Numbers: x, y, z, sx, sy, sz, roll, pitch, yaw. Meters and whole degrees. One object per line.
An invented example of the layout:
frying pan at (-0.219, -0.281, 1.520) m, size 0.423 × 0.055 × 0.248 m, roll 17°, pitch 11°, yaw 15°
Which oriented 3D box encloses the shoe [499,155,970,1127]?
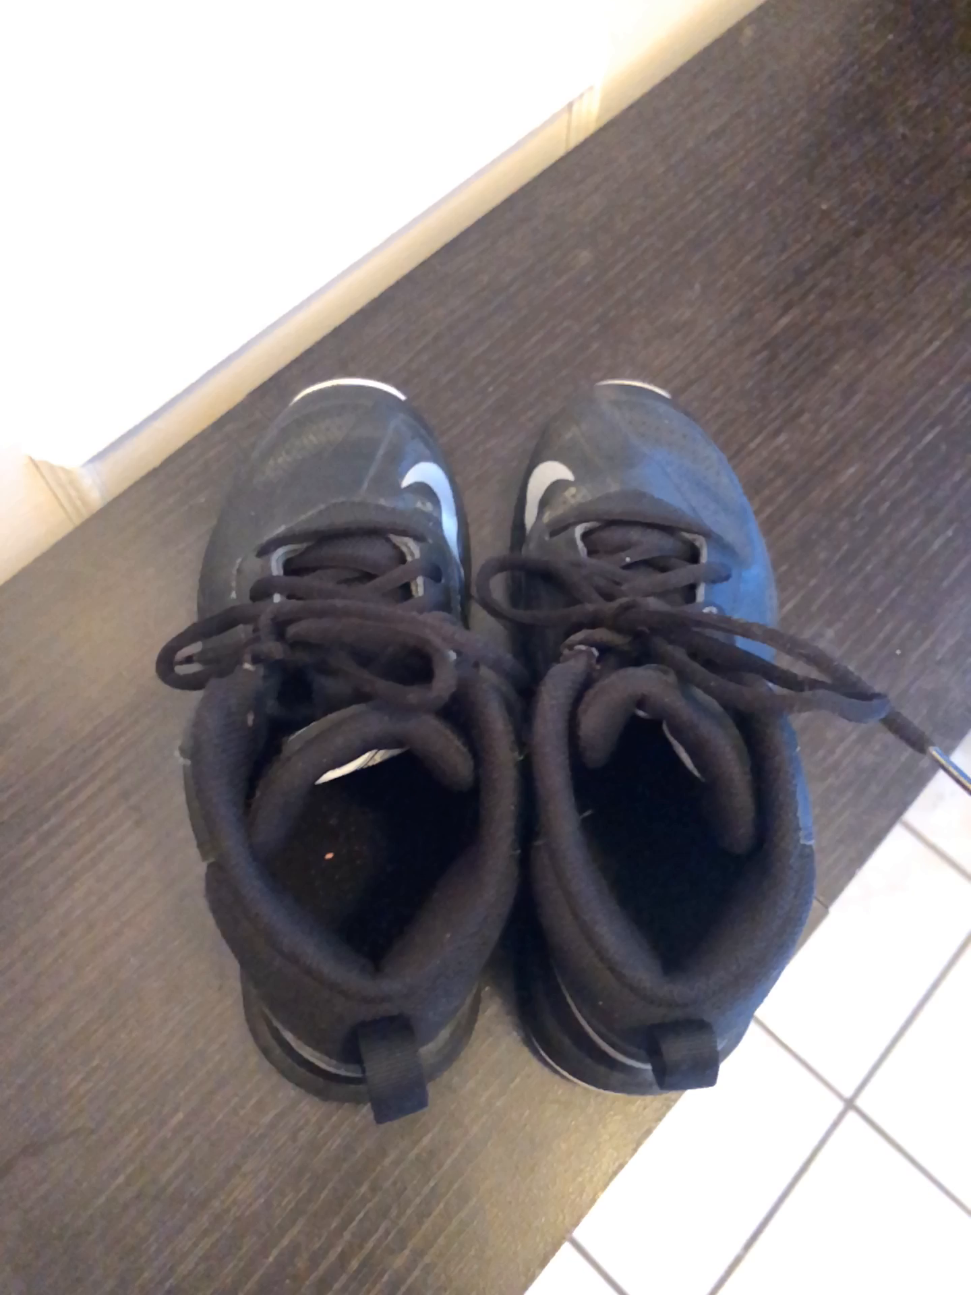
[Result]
shoe at (0.057, 0.002, 0.314) m, size 0.100 × 0.130 × 0.251 m, roll 1°, pitch 66°, yaw -1°

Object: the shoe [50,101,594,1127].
shoe at (-0.042, -0.008, 0.311) m, size 0.100 × 0.130 × 0.261 m, roll -4°, pitch 66°, yaw -3°
